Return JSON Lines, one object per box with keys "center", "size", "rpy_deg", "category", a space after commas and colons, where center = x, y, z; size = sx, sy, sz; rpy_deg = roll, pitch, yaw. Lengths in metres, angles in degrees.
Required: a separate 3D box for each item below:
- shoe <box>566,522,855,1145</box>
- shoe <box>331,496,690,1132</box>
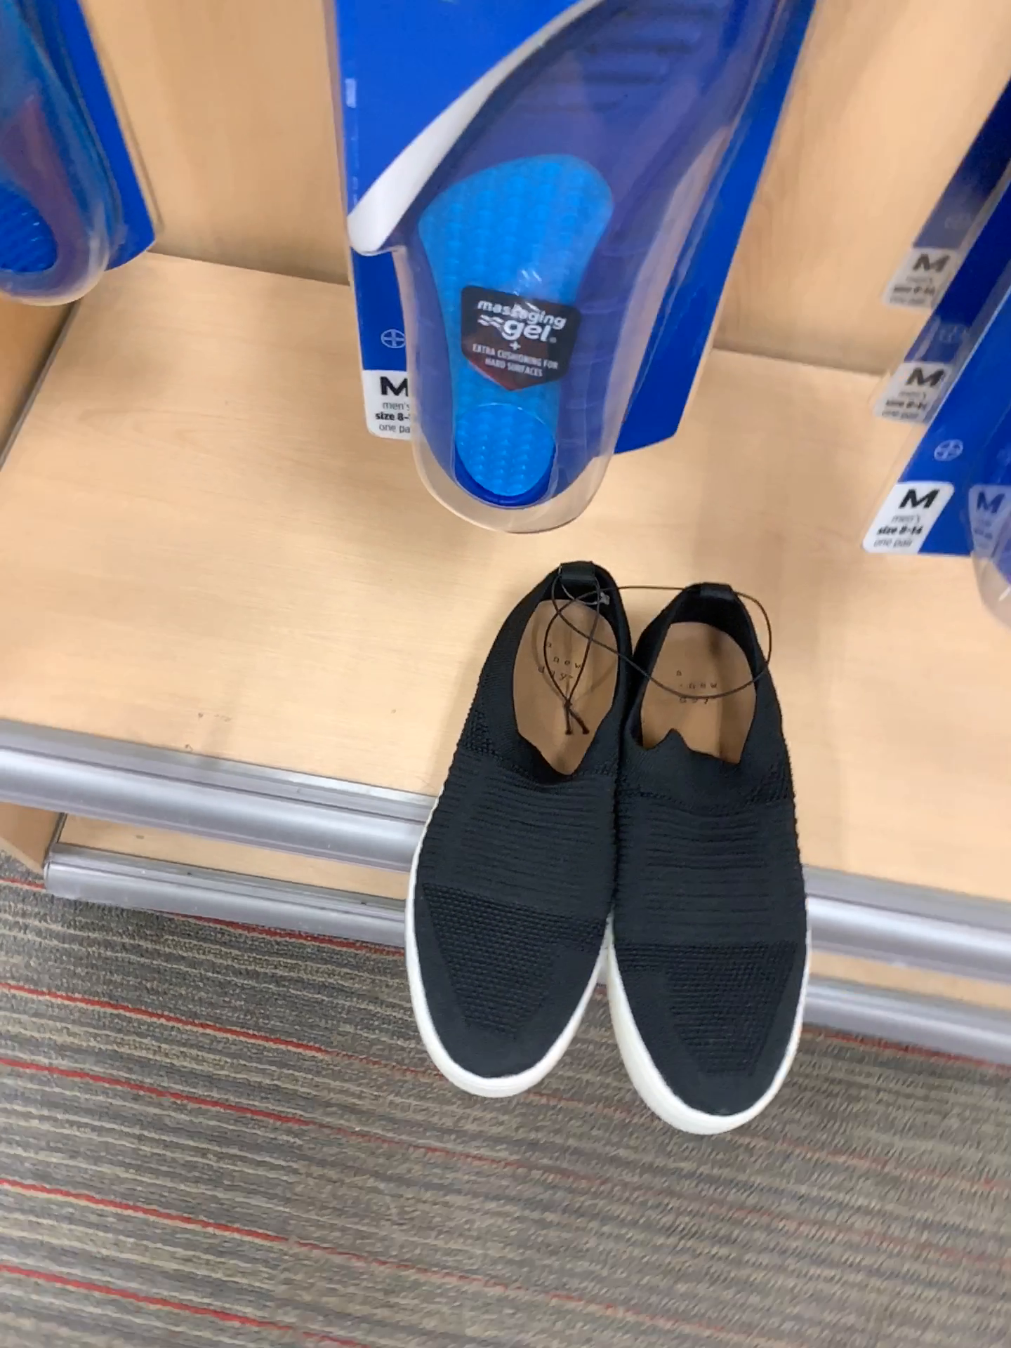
{"center": [0.095, 0.073, 0.501], "size": [0.100, 0.100, 0.270], "rpy_deg": [7, 64, 0], "category": "shoe"}
{"center": [0.009, 0.062, 0.499], "size": [0.100, 0.100, 0.270], "rpy_deg": [13, 64, 3], "category": "shoe"}
